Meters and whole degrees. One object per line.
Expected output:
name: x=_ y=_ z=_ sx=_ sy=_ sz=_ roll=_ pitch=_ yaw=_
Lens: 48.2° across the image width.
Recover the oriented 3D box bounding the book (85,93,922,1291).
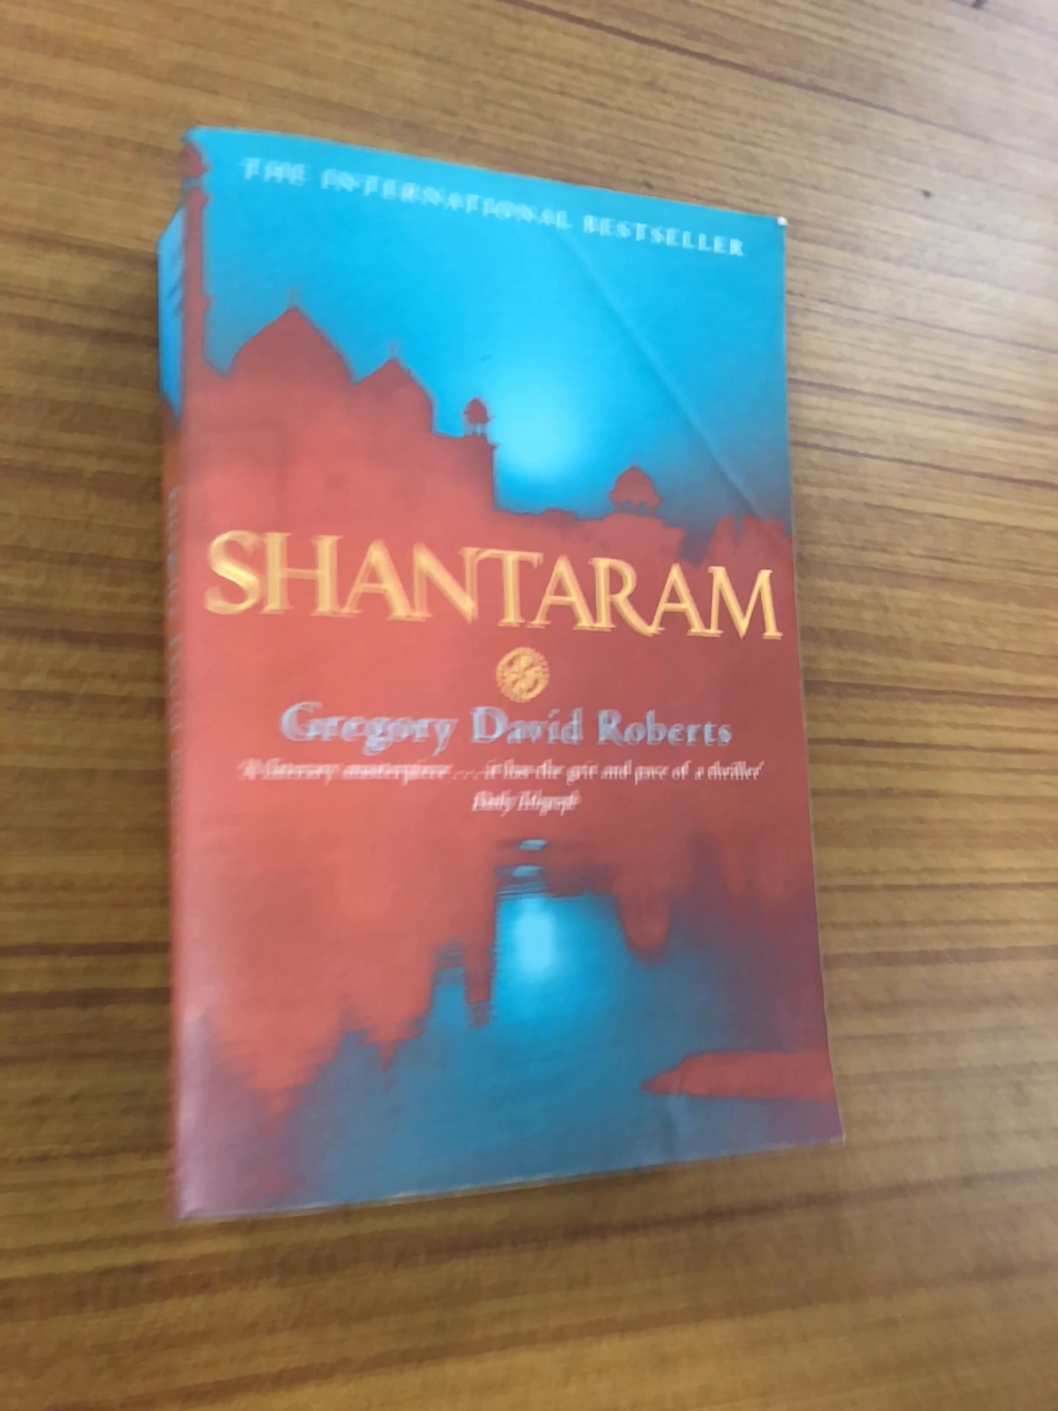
book: x=-0.008 y=-0.005 z=0.236 sx=0.150 sy=0.050 sz=0.190 roll=0 pitch=82 yaw=-21
